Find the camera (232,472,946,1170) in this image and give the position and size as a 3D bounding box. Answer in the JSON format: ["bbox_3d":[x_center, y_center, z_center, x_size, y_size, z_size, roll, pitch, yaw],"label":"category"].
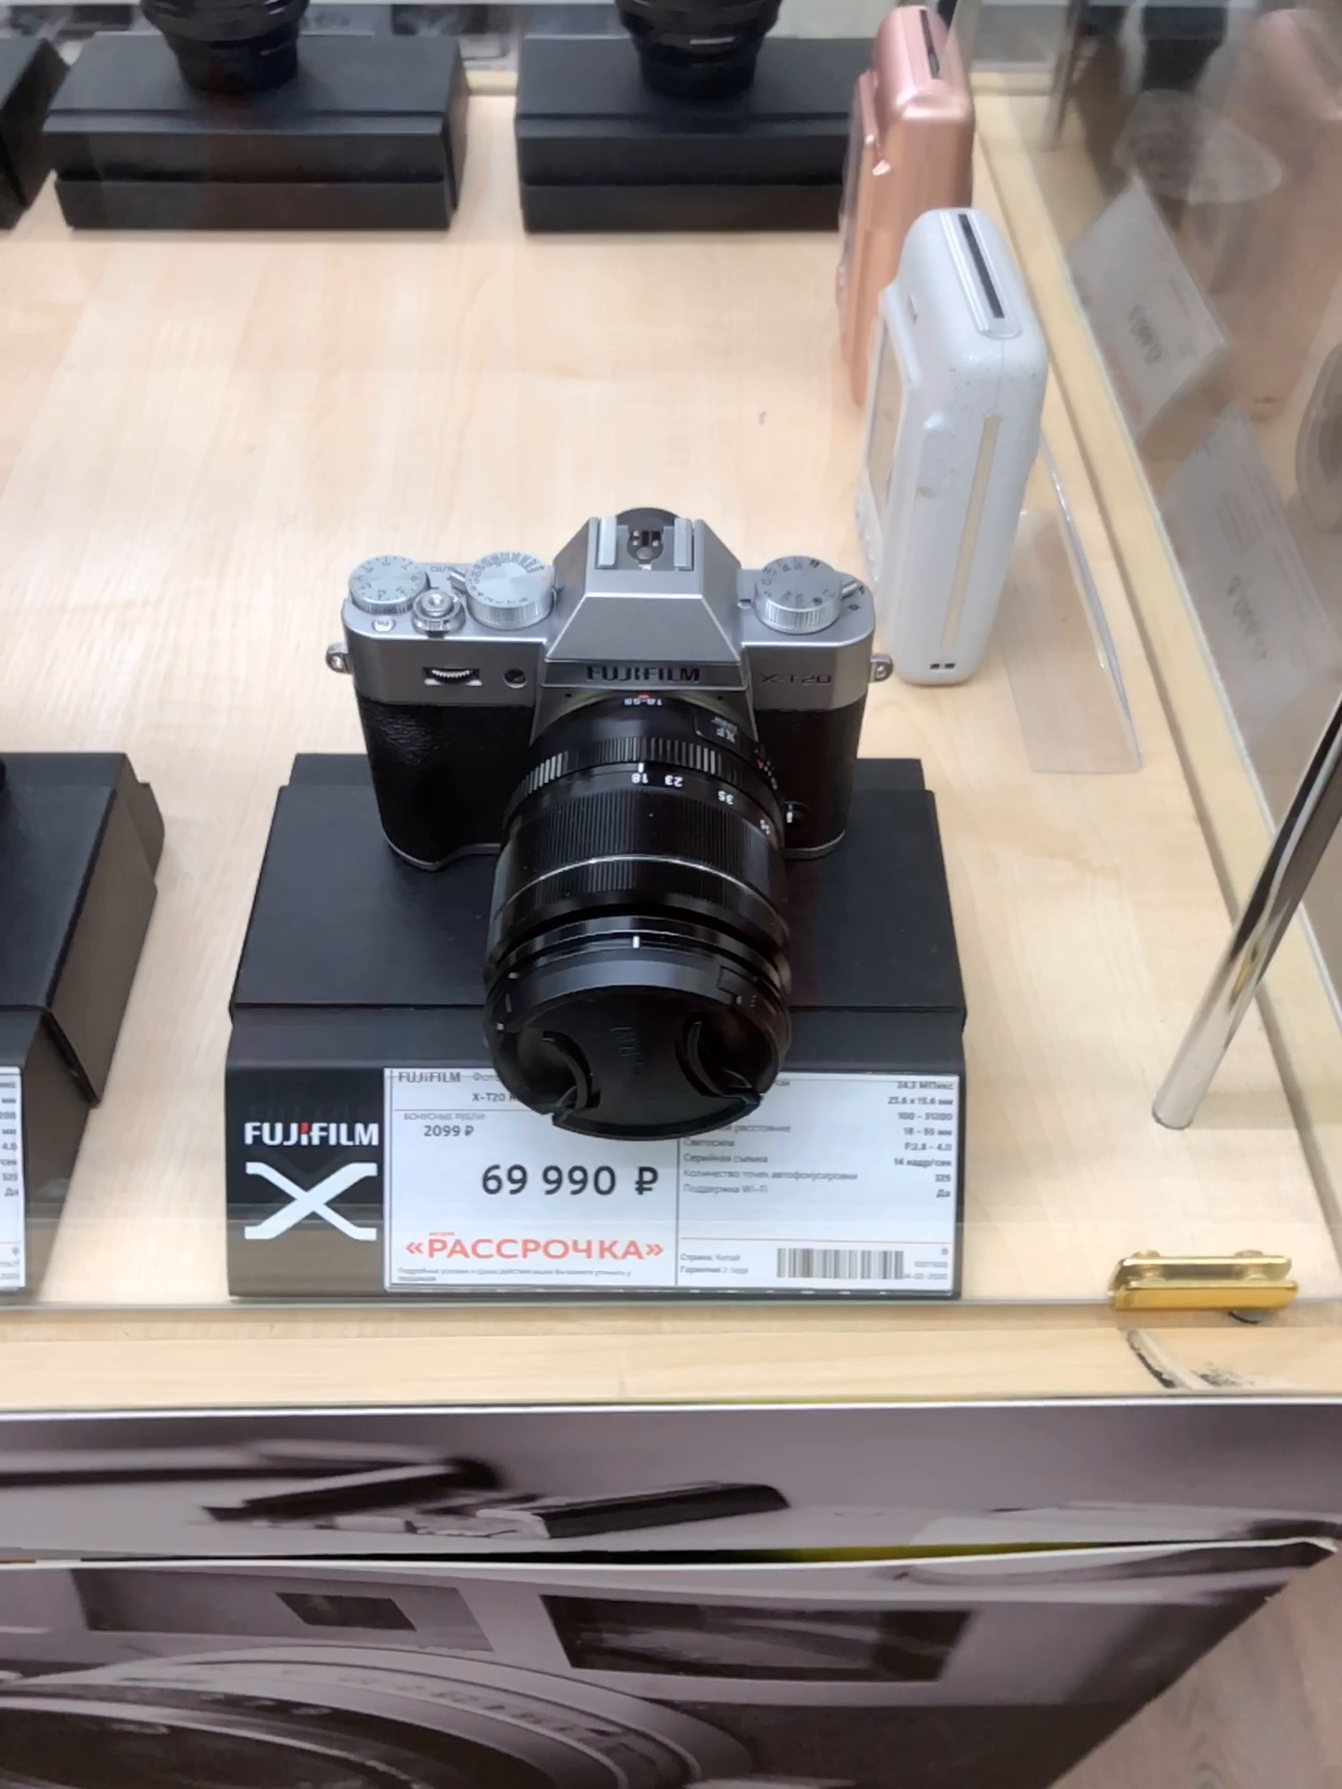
[{"bbox_3d":[-0.013,-0.019,0.329,0.123,0.080,0.131,2,50,1],"label":"camera"}]

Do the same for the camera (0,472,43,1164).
[{"bbox_3d":[-0.234,-0.020,0.332,0.123,0.080,0.131,2,50,1],"label":"camera"}]

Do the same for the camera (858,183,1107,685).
[{"bbox_3d":[0.088,-0.137,0.447,0.039,0.110,0.094,-1,50,-2],"label":"camera"}]

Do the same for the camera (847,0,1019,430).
[{"bbox_3d":[0.093,-0.255,0.554,0.042,0.118,0.101,4,50,2],"label":"camera"}]
